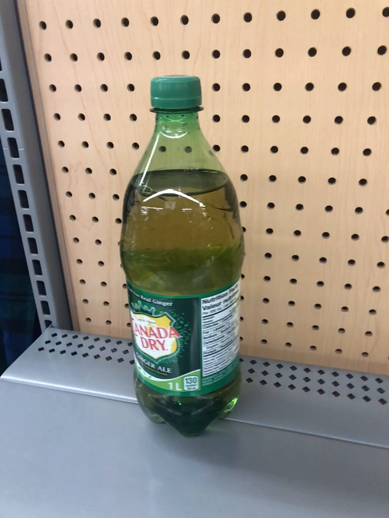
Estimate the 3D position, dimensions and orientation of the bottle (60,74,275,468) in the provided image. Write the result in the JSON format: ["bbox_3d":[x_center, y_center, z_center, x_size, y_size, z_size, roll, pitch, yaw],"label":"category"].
[{"bbox_3d":[-0.011,0.006,0.305,0.090,0.248,0.090,-1,25,1],"label":"bottle"}]
